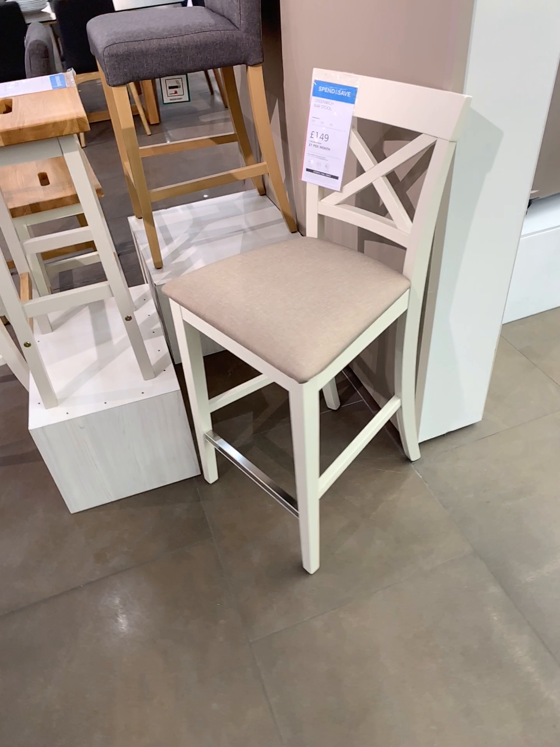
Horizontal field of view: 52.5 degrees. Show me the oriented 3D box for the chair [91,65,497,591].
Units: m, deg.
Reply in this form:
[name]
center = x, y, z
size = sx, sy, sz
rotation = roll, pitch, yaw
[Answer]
[chair]
center = 0.056, -0.087, 1.275
size = 0.539, 0.938, 0.452
rotation = -33, 47, -29
